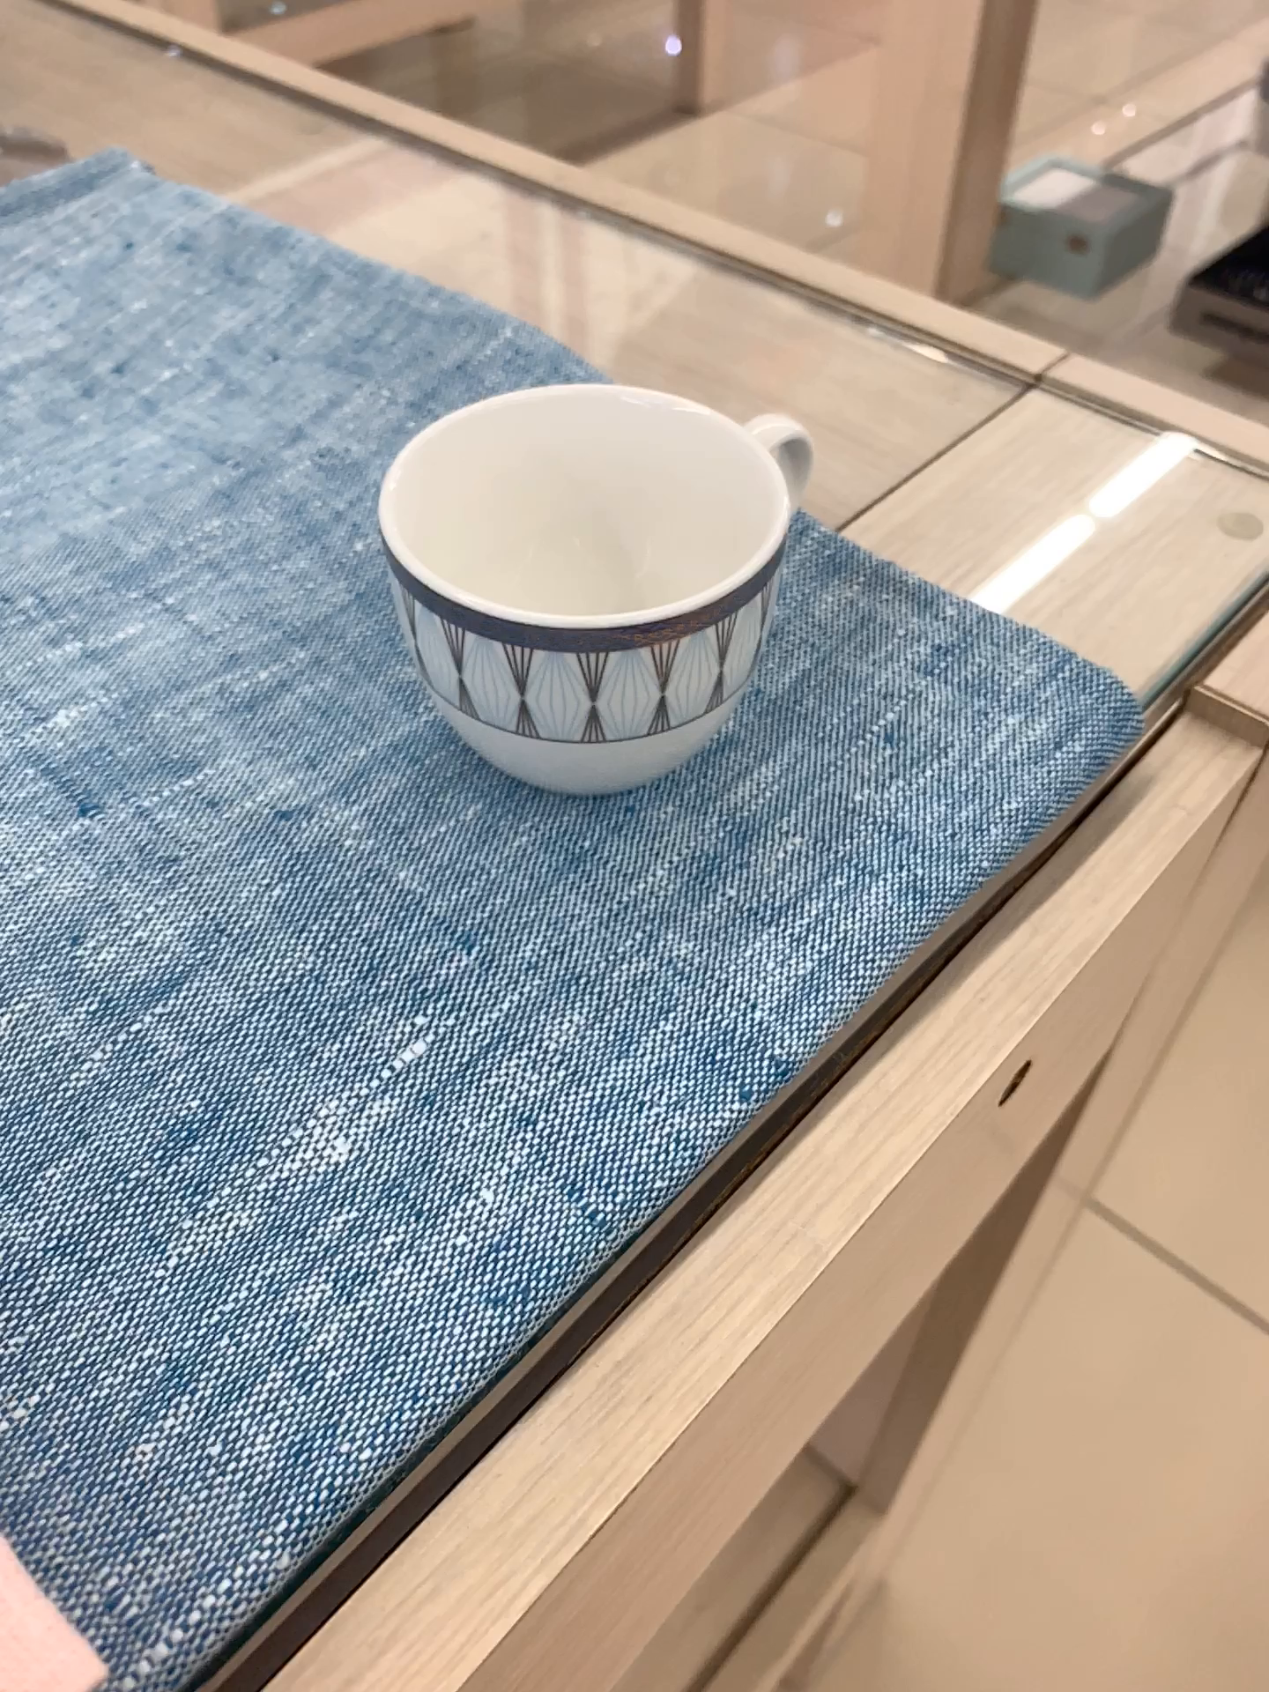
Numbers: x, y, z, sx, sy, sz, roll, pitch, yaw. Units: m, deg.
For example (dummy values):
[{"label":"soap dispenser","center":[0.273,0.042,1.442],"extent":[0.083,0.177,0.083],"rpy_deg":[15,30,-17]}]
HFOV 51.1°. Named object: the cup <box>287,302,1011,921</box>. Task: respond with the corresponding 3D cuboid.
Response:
[{"label":"cup","center":[0.004,-0.044,0.219],"extent":[0.070,0.040,0.090],"rpy_deg":[32,55,26]}]
